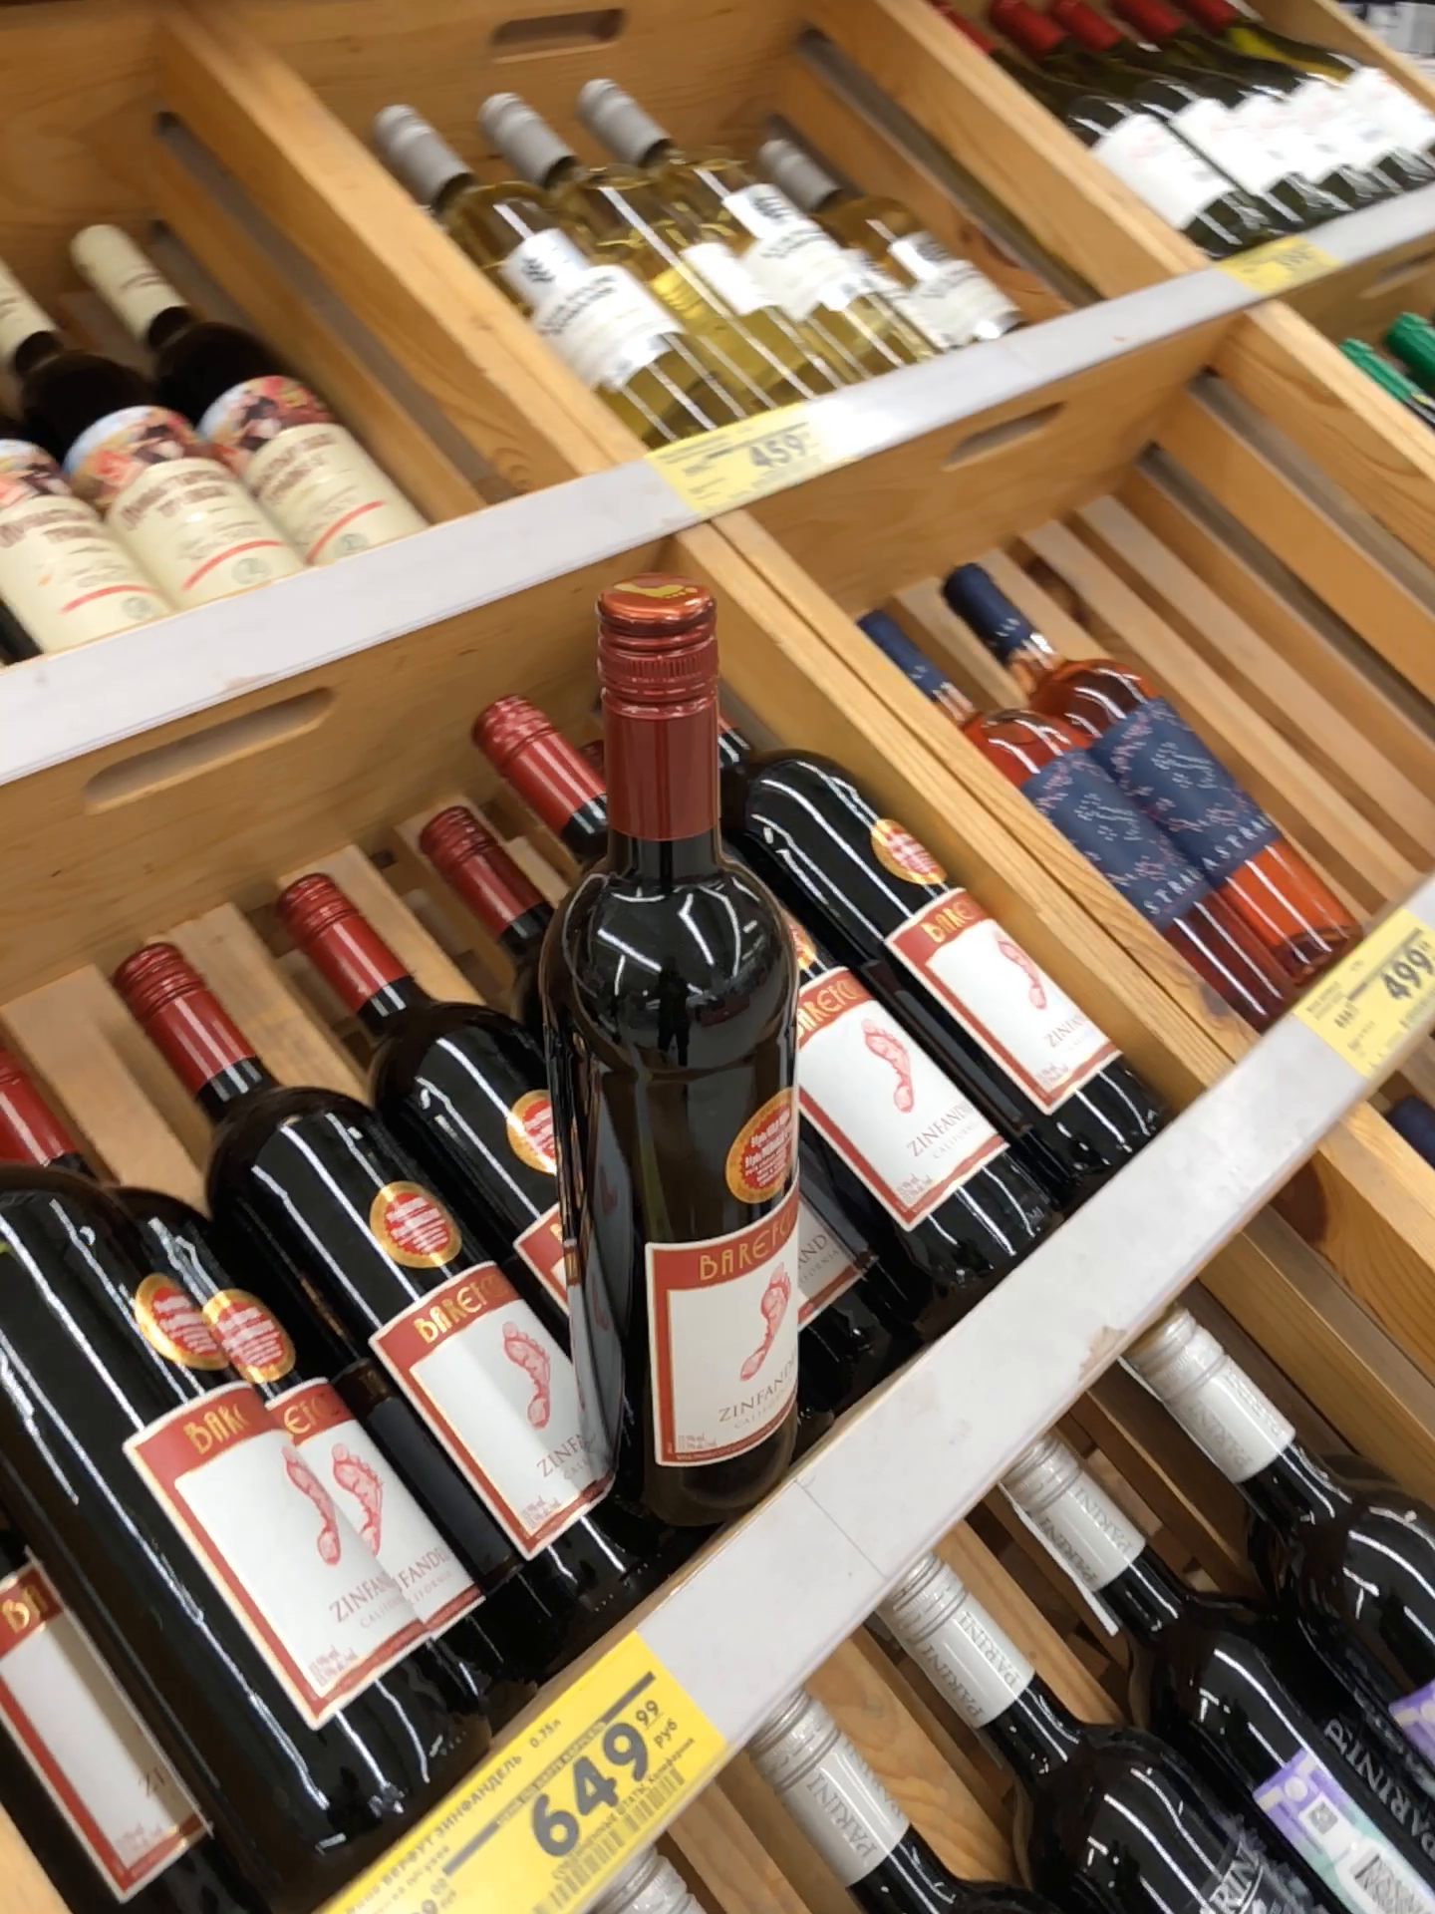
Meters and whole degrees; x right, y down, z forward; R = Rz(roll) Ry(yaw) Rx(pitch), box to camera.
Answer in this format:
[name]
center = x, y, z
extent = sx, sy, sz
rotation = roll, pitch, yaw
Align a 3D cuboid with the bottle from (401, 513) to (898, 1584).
[bottle]
center = -0.012, 0.037, 0.440
extent = 0.080, 0.288, 0.080
rotation = -1, 34, 1
